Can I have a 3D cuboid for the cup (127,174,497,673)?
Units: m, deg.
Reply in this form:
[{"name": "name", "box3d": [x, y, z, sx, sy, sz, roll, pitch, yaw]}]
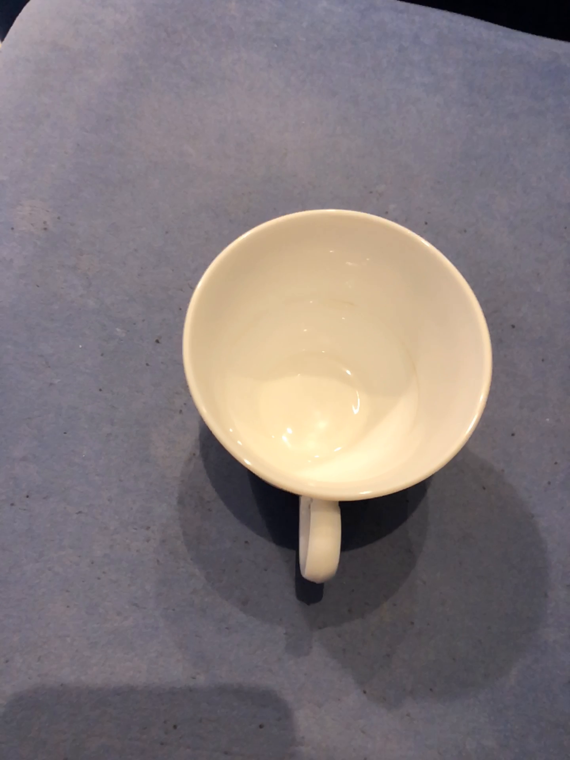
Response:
[{"name": "cup", "box3d": [0.012, 0.011, 0.184, 0.080, 0.050, 0.120, 9, 70, 0]}]
